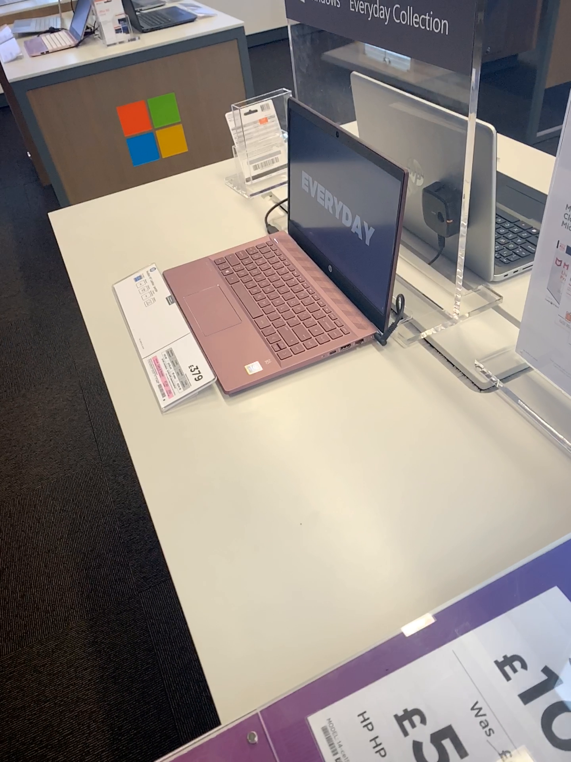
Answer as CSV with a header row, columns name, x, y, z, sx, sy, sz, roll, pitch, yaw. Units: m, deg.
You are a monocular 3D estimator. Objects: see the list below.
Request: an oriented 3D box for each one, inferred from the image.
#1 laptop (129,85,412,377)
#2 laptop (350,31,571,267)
name,x,y,z,sx,sy,sz,roll,pitch,yaw
laptop,-0.028,-0.216,0.776,0.249,0.200,0.314,-21,44,-12
laptop,0.284,-0.360,0.862,0.244,0.186,0.326,-22,44,-14
